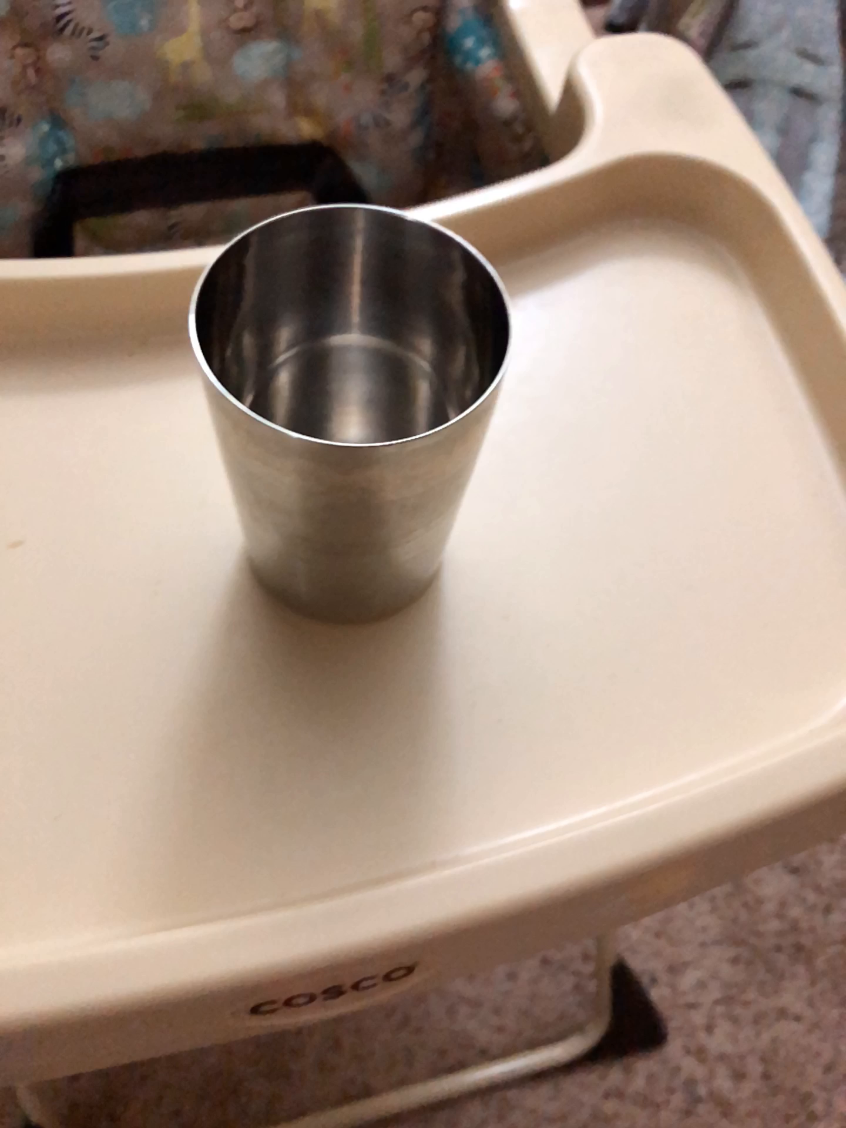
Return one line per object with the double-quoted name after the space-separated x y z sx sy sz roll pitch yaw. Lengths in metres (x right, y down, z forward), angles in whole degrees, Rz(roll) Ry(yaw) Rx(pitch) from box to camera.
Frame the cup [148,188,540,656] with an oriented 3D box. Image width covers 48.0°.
-0.023 -0.033 0.248 0.073 0.091 0.073 2 62 -4 "cup"
